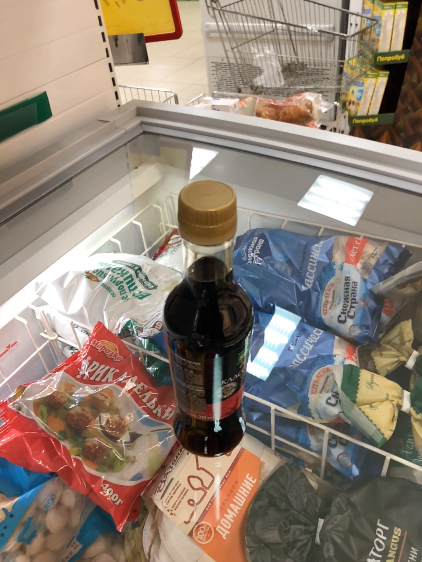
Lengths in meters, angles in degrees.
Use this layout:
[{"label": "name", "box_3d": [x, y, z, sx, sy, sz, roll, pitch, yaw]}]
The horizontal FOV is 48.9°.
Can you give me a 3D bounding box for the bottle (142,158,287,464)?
[{"label": "bottle", "box_3d": [0.004, 0.030, 0.283, 0.060, 0.192, 0.058, 0, 40, 0]}]
